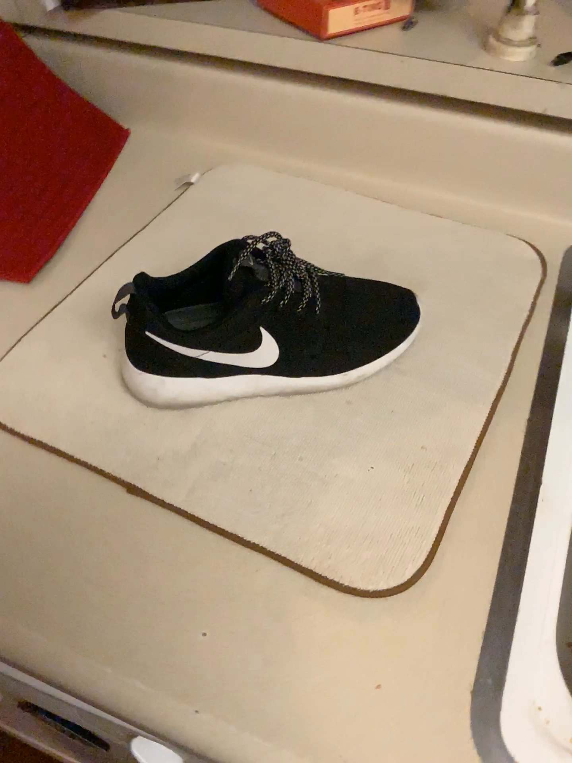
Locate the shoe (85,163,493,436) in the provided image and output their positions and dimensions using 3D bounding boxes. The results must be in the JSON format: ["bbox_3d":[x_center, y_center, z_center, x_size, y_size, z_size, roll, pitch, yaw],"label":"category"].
[{"bbox_3d":[-0.004,-0.071,0.519,0.280,0.120,0.130,-11,51,-9],"label":"shoe"}]
